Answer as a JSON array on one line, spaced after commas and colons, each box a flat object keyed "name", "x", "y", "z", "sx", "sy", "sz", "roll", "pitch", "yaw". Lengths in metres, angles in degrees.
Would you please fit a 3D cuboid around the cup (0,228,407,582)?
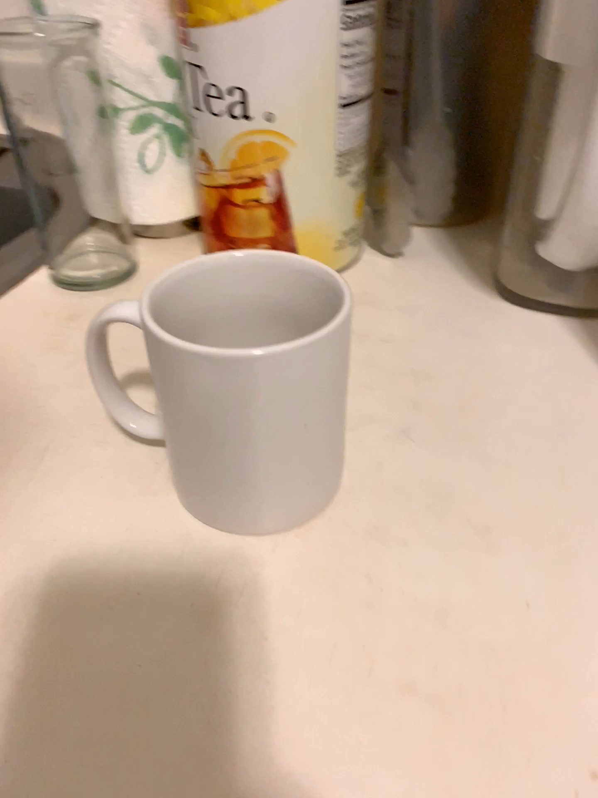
[{"name": "cup", "x": -0.031, "y": 0.000, "z": 0.277, "sx": 0.140, "sy": 0.109, "sz": 0.090, "roll": 7, "pitch": 39, "yaw": 8}]
